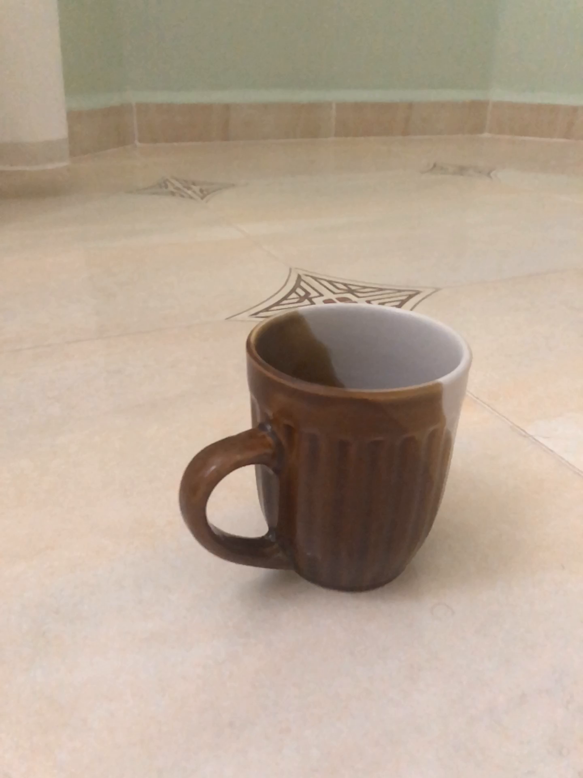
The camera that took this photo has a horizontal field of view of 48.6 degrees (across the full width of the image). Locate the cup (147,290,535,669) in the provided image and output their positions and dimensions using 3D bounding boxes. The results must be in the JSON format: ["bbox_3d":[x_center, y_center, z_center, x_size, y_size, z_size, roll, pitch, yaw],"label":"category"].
[{"bbox_3d":[0.011,0.024,0.228,0.103,0.086,0.076,-9,29,-19],"label":"cup"}]
